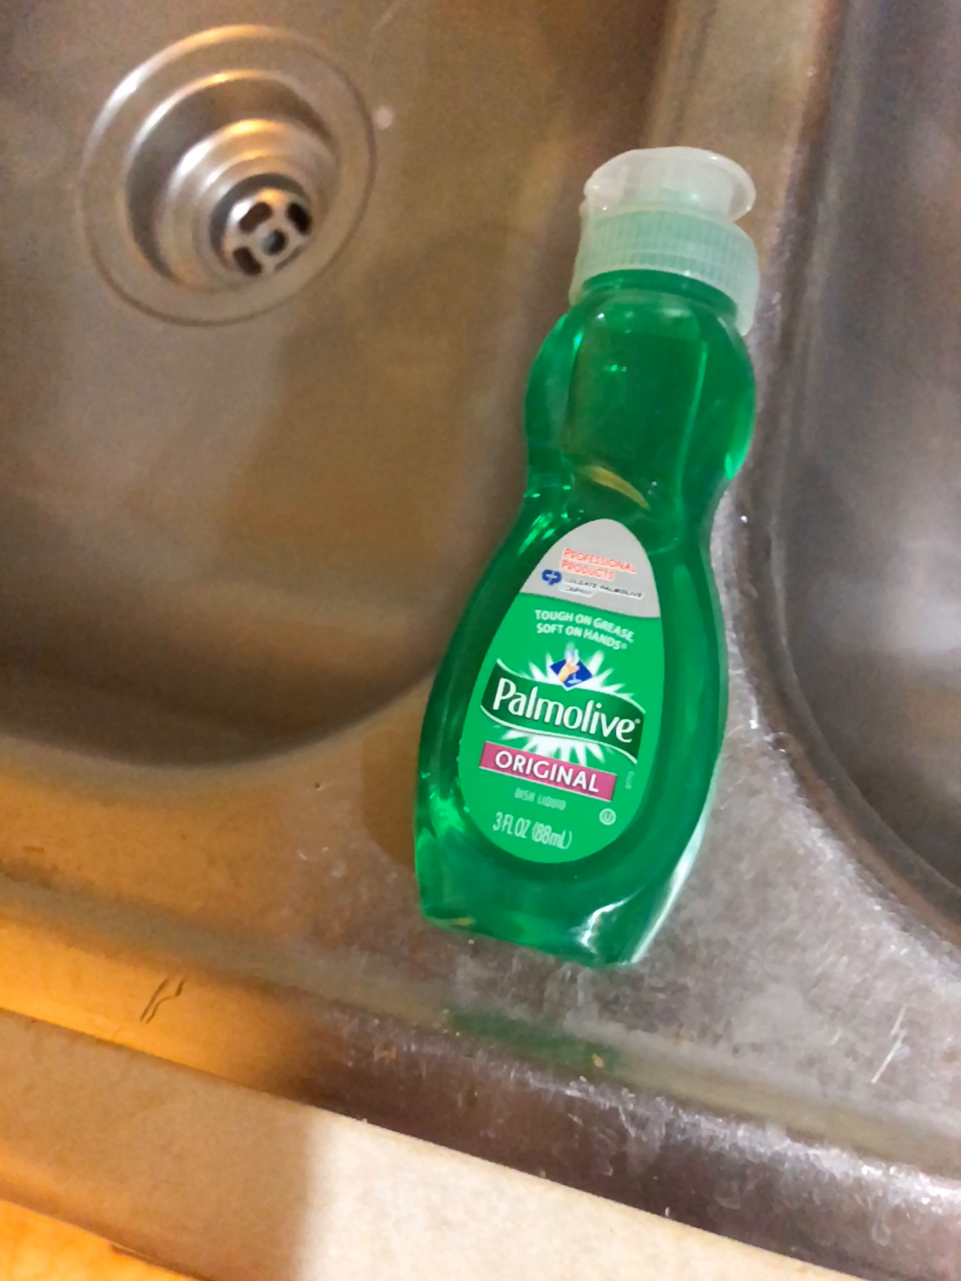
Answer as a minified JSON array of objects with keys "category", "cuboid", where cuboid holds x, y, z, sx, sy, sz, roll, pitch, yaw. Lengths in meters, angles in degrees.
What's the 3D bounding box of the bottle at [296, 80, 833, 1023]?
[{"category":"bottle","cuboid":[0.016,-0.016,0.166,0.050,0.030,0.130,10,82,14]}]
